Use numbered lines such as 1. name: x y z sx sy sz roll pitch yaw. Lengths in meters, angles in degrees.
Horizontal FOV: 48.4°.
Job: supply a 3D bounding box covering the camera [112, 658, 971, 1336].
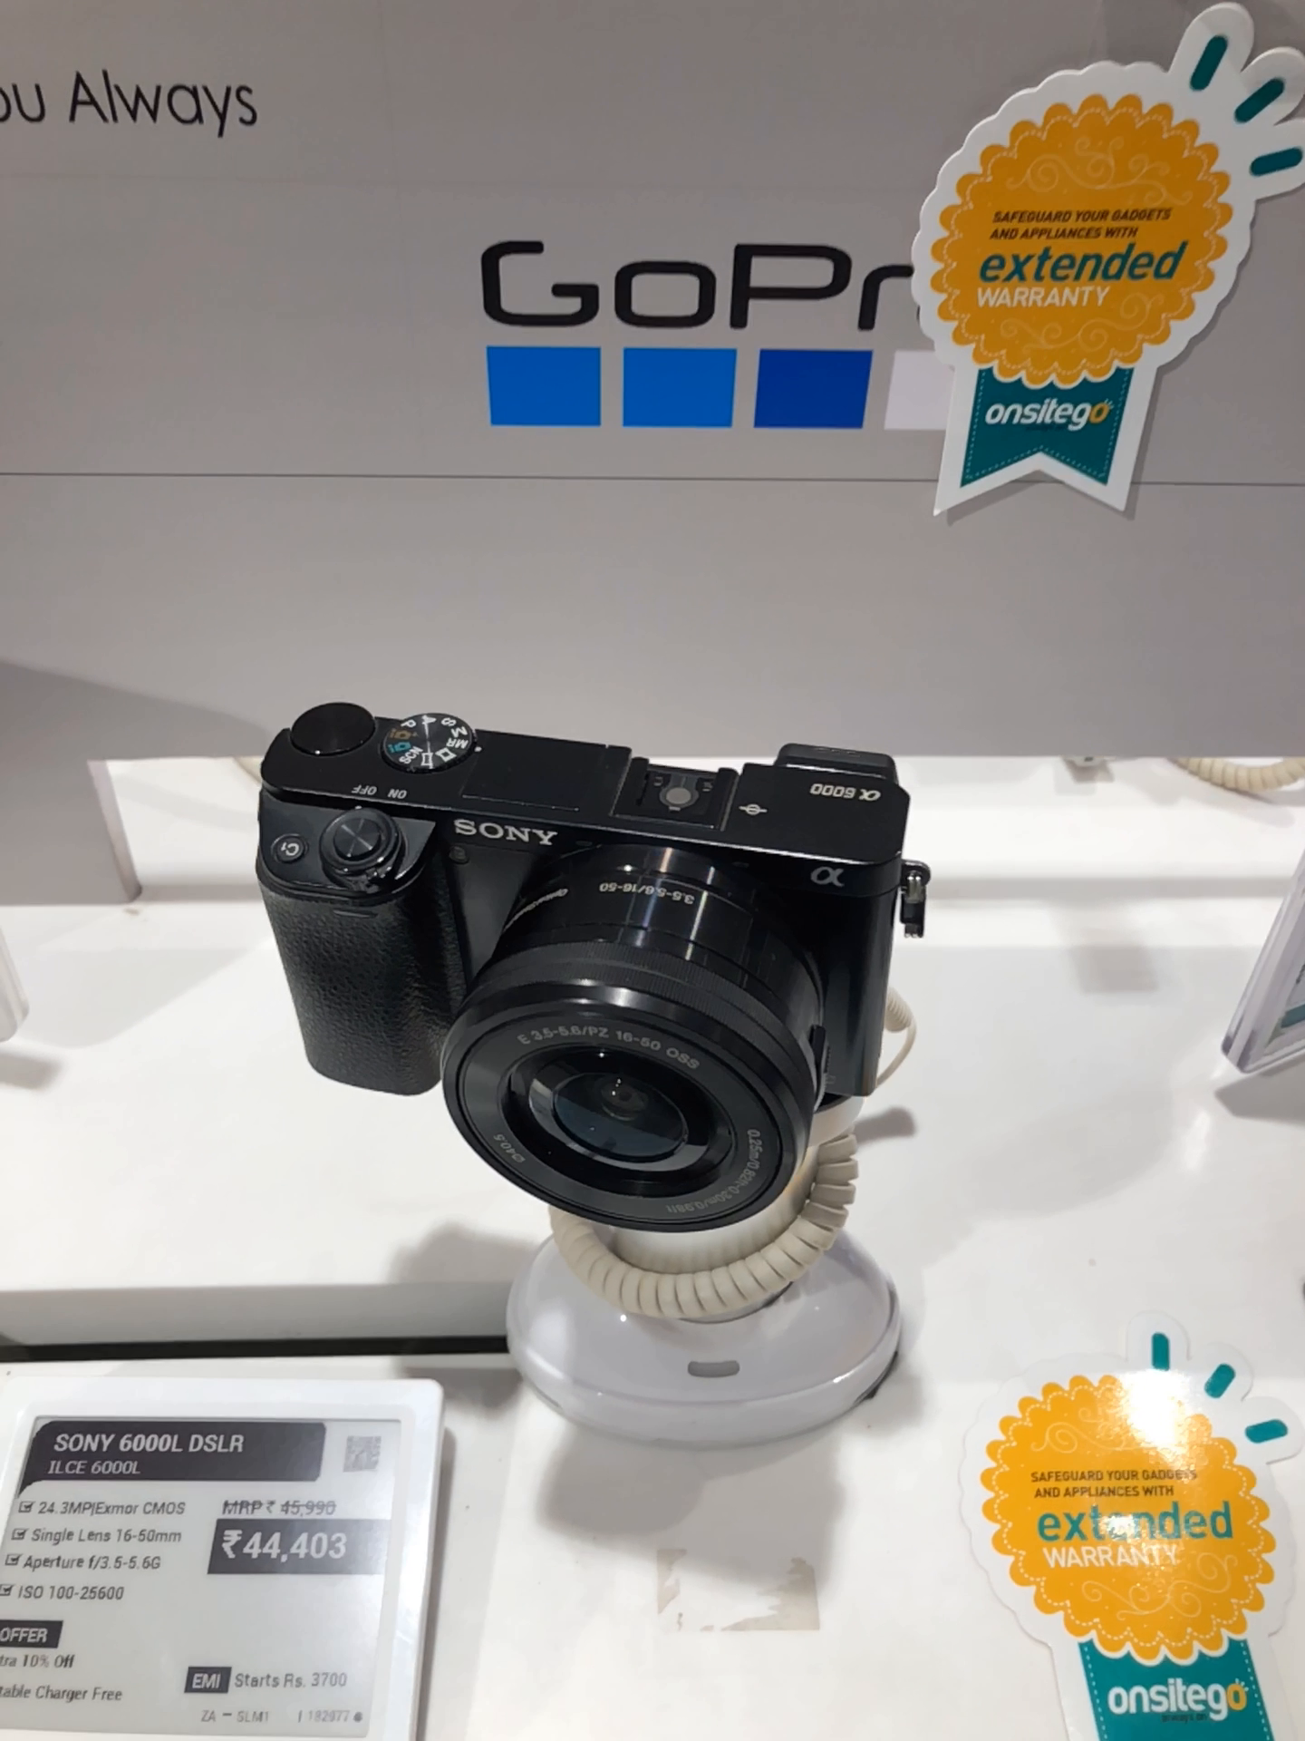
1. camera: -0.012 0.019 0.228 0.110 0.070 0.060 8 44 7
